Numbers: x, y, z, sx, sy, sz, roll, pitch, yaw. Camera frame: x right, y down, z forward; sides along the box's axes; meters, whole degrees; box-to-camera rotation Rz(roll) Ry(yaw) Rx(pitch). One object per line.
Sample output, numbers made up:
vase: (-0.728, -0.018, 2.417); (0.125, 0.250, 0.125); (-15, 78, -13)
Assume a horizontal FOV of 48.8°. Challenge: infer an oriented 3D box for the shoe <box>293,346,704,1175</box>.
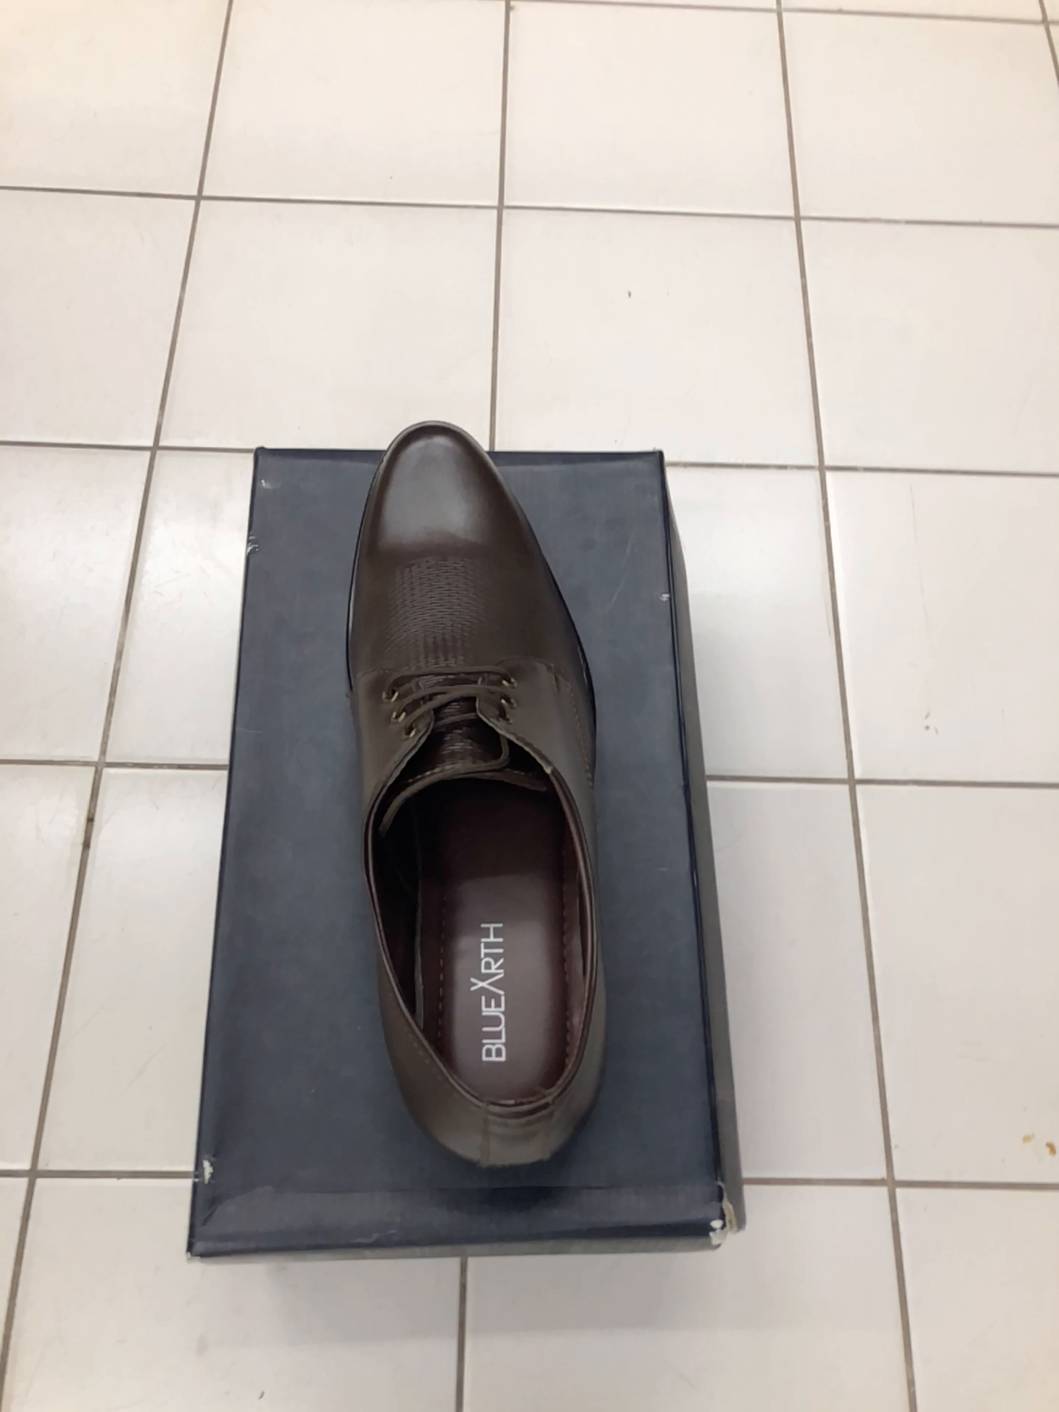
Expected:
shoe: (-0.021, 0.018, 0.452); (0.104, 0.109, 0.291); (-7, 68, -5)
